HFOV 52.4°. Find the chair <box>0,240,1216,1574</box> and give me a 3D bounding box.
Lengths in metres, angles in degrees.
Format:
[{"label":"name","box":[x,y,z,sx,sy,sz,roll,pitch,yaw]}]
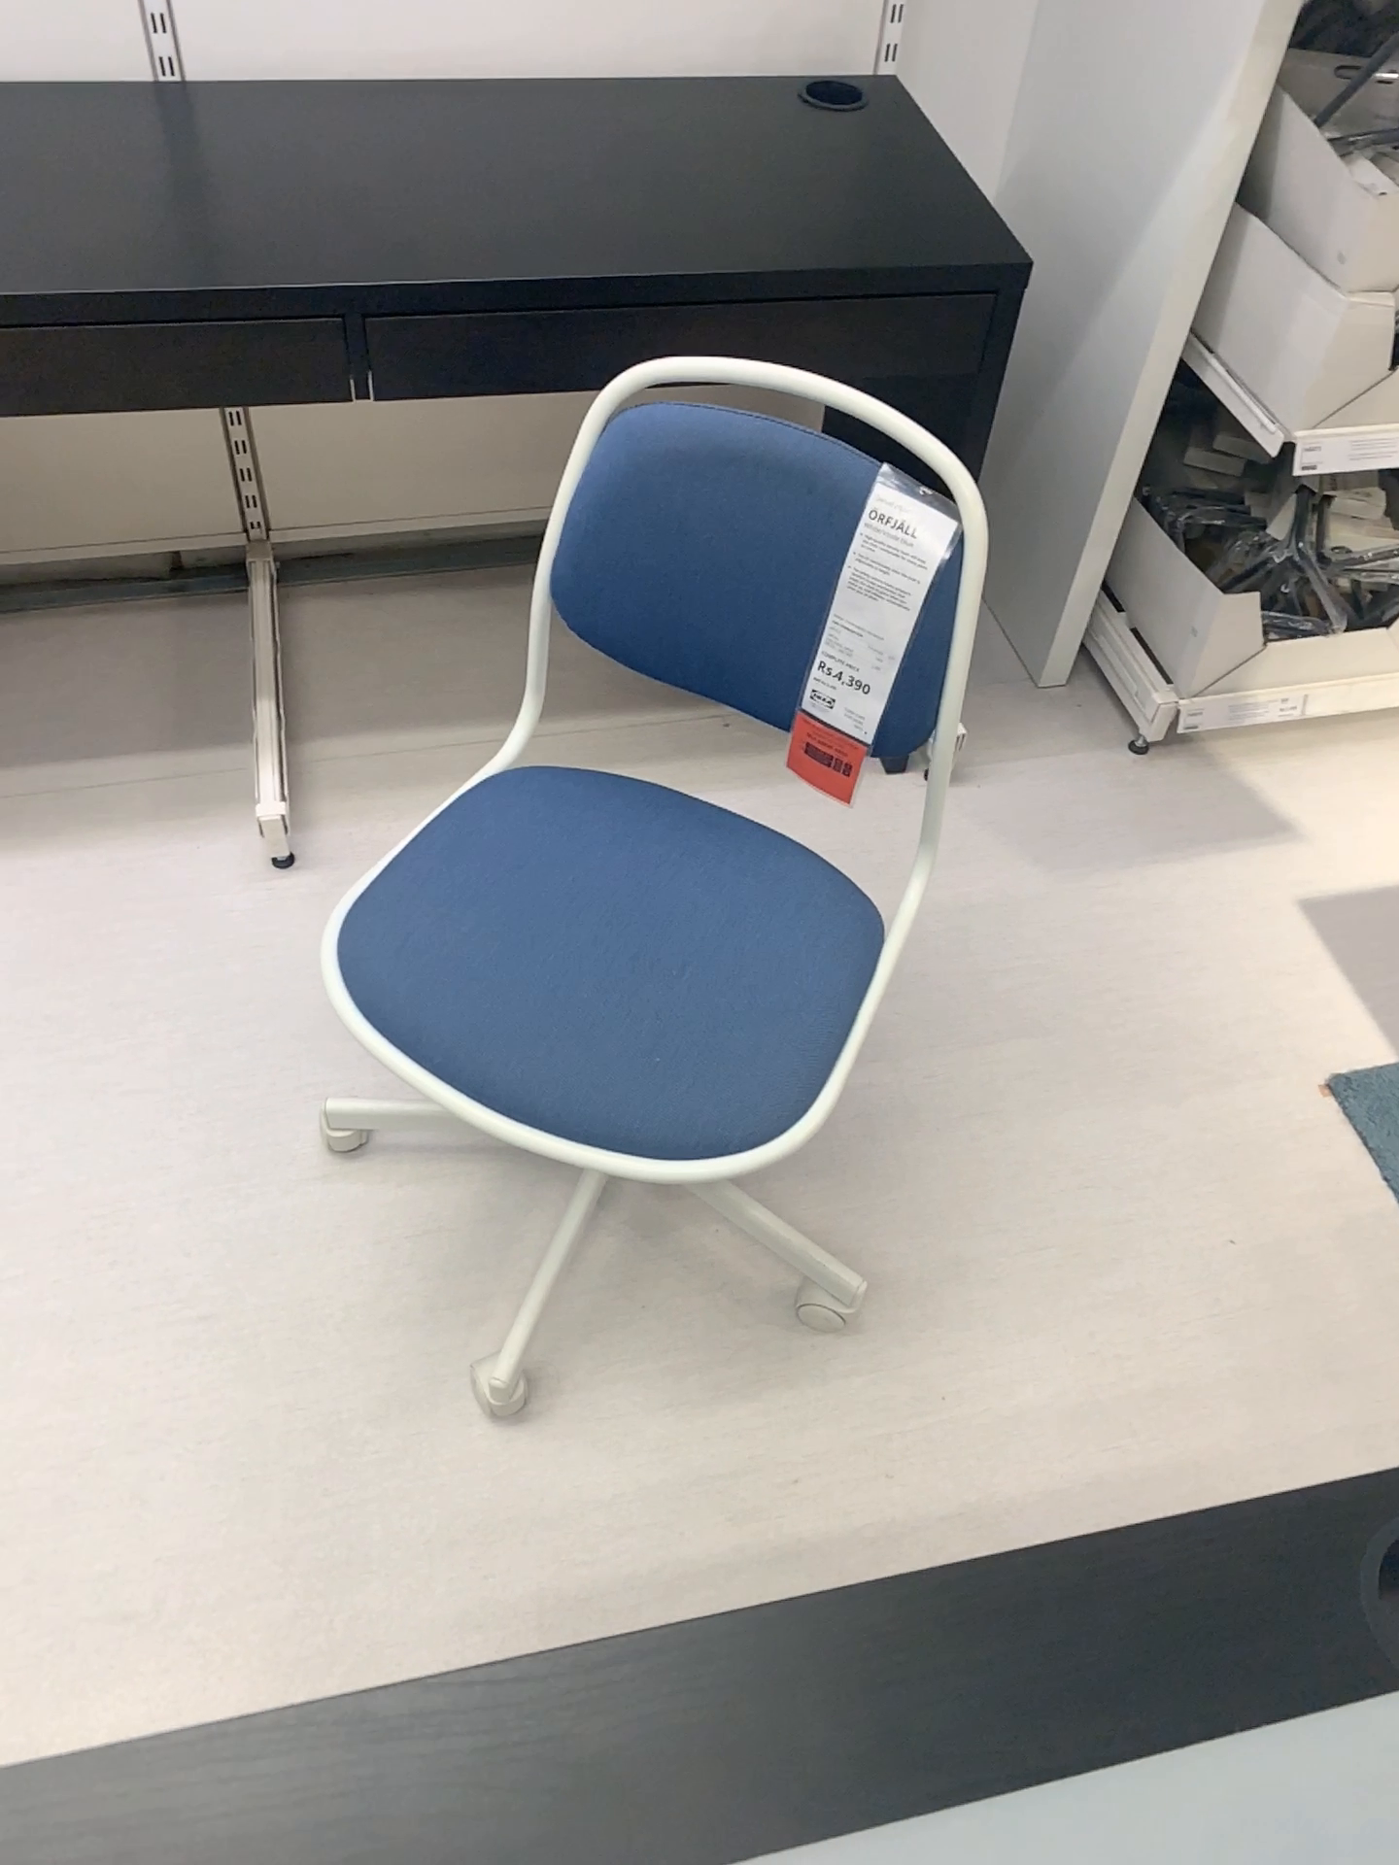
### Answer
[{"label":"chair","box":[-0.071,-0.002,1.235,0.640,0.797,0.602,23,52,14]}]
